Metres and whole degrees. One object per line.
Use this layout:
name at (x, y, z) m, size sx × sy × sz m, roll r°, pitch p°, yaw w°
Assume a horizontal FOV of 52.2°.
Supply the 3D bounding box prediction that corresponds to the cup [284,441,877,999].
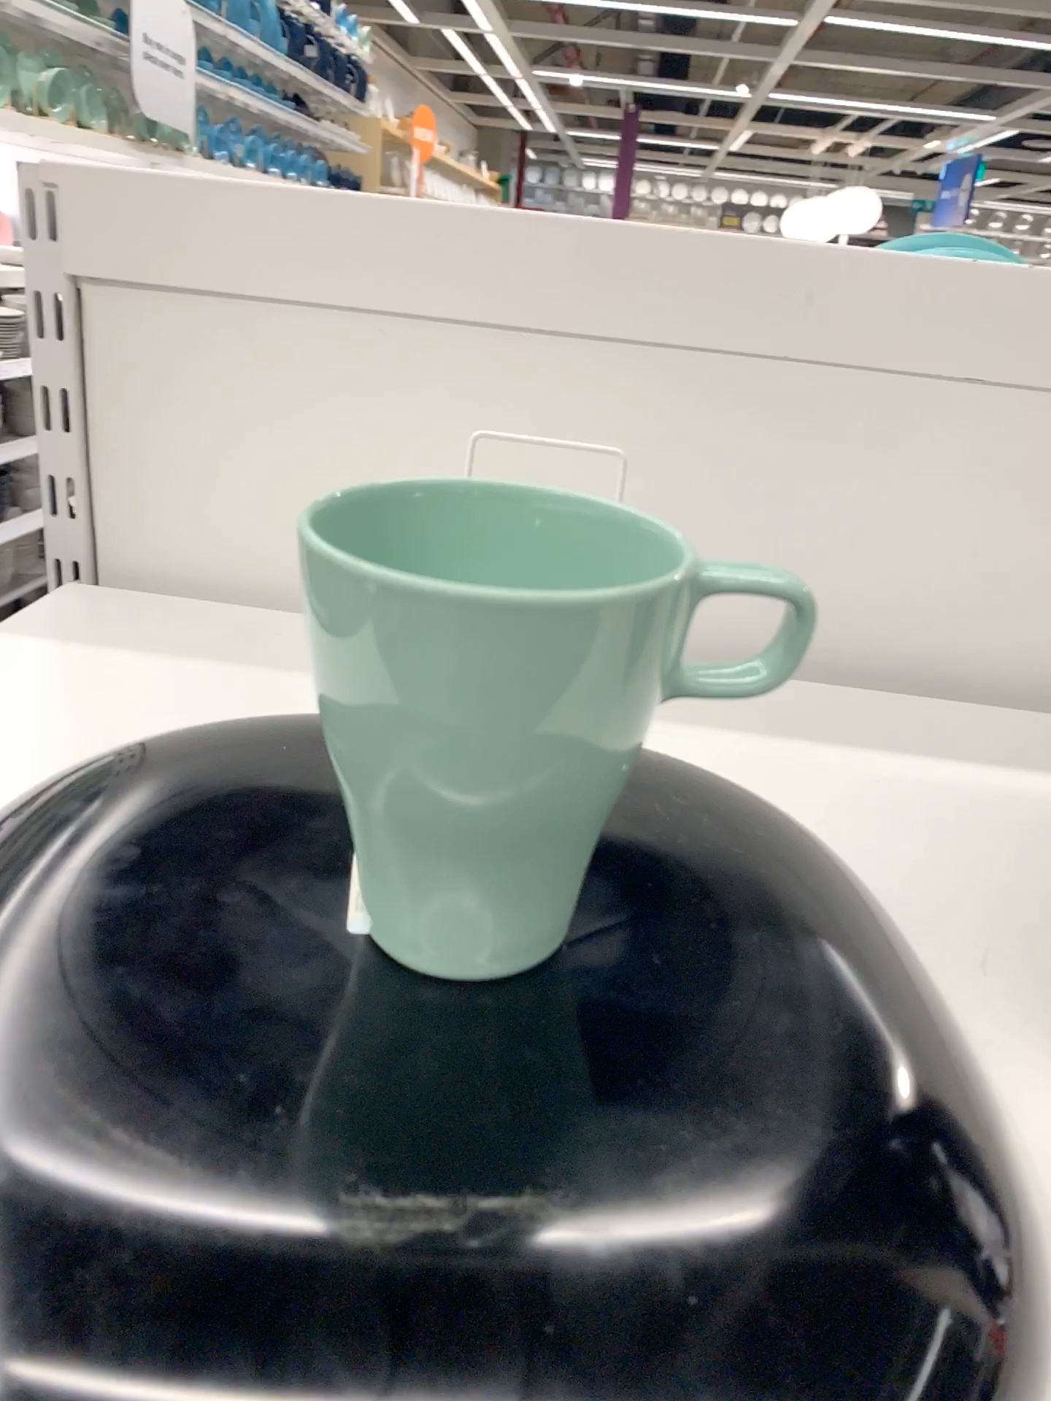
cup at (0.002, 0.000, 0.253) m, size 0.110 × 0.100 × 0.080 m, roll 0°, pitch 23°, yaw -15°
